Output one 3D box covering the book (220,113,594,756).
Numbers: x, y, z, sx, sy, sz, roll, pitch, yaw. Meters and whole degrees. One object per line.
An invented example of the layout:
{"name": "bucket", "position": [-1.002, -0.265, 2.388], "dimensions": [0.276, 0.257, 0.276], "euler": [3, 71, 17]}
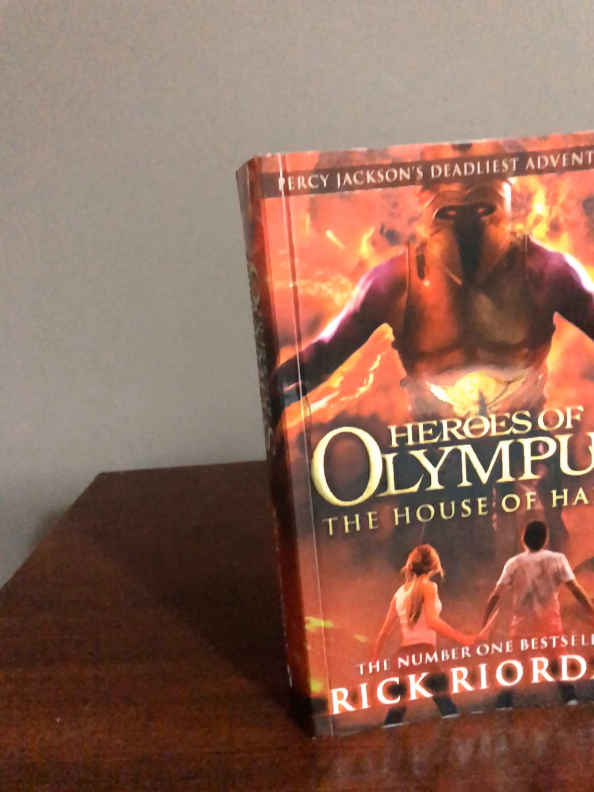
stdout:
{"name": "book", "position": [0.052, 0.013, 0.241], "dimensions": [0.140, 0.199, 0.060], "euler": [-6, 13, -6]}
